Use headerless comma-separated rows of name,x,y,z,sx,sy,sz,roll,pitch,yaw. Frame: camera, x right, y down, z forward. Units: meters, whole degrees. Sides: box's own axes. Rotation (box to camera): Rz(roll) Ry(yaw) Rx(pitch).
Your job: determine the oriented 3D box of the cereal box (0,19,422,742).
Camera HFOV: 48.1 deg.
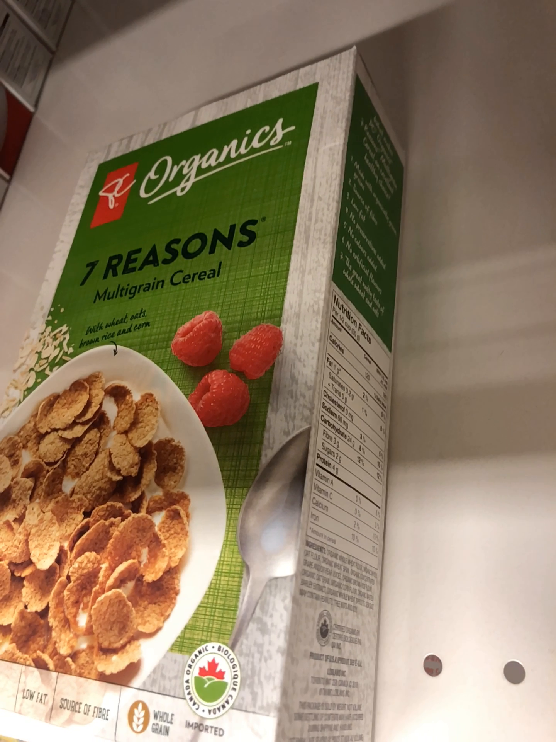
cereal box,-0.046,0.002,0.254,0.181,0.060,0.260,-6,61,31
